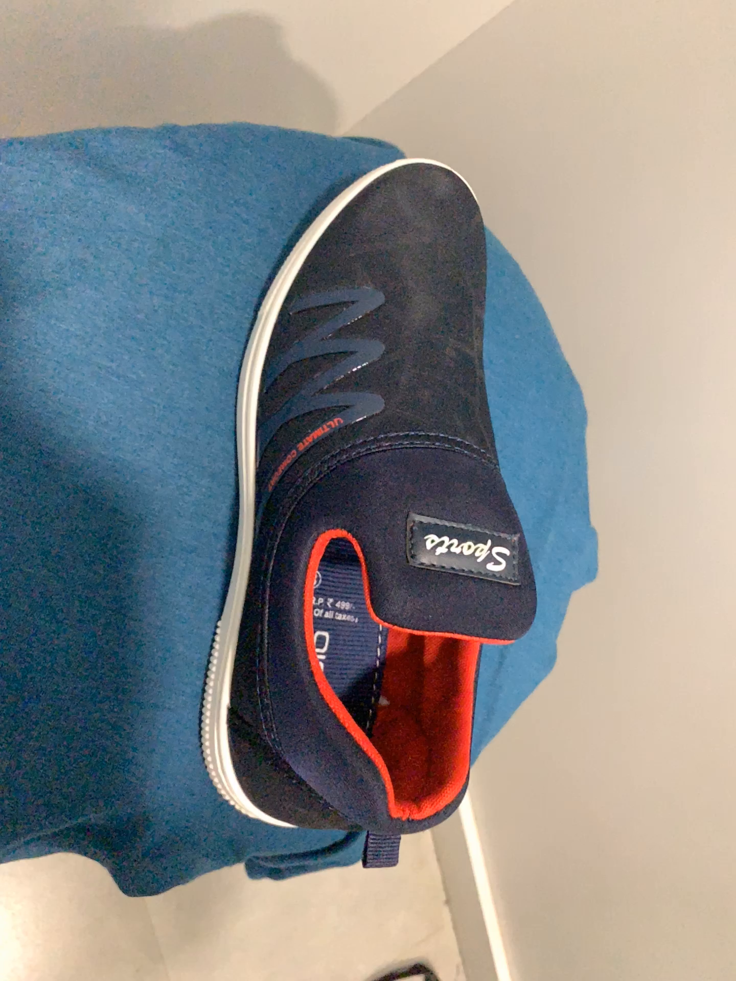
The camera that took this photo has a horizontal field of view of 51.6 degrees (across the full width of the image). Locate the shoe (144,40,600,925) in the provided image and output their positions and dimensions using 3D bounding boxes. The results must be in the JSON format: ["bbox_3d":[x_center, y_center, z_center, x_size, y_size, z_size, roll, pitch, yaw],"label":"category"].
[{"bbox_3d":[-0.001,-0.001,0.285,0.090,0.100,0.260,13,84,-31],"label":"shoe"}]
